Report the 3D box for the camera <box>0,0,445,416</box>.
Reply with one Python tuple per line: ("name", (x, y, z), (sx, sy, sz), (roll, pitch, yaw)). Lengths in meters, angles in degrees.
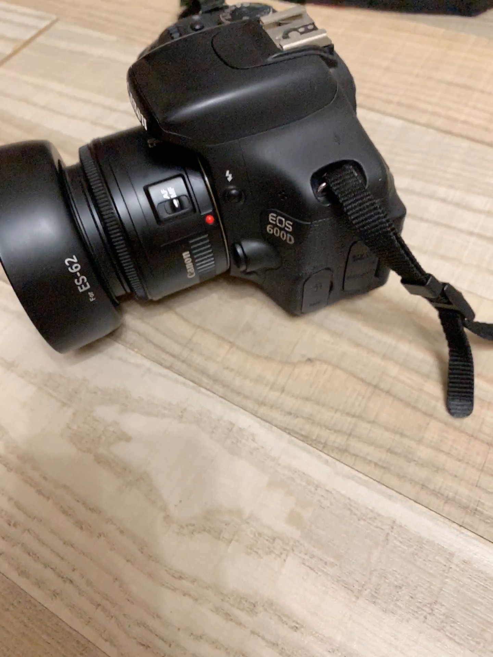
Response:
("camera", (-0.033, -0.068, 0.215), (0.150, 0.090, 0.139), (-20, 60, -6))
